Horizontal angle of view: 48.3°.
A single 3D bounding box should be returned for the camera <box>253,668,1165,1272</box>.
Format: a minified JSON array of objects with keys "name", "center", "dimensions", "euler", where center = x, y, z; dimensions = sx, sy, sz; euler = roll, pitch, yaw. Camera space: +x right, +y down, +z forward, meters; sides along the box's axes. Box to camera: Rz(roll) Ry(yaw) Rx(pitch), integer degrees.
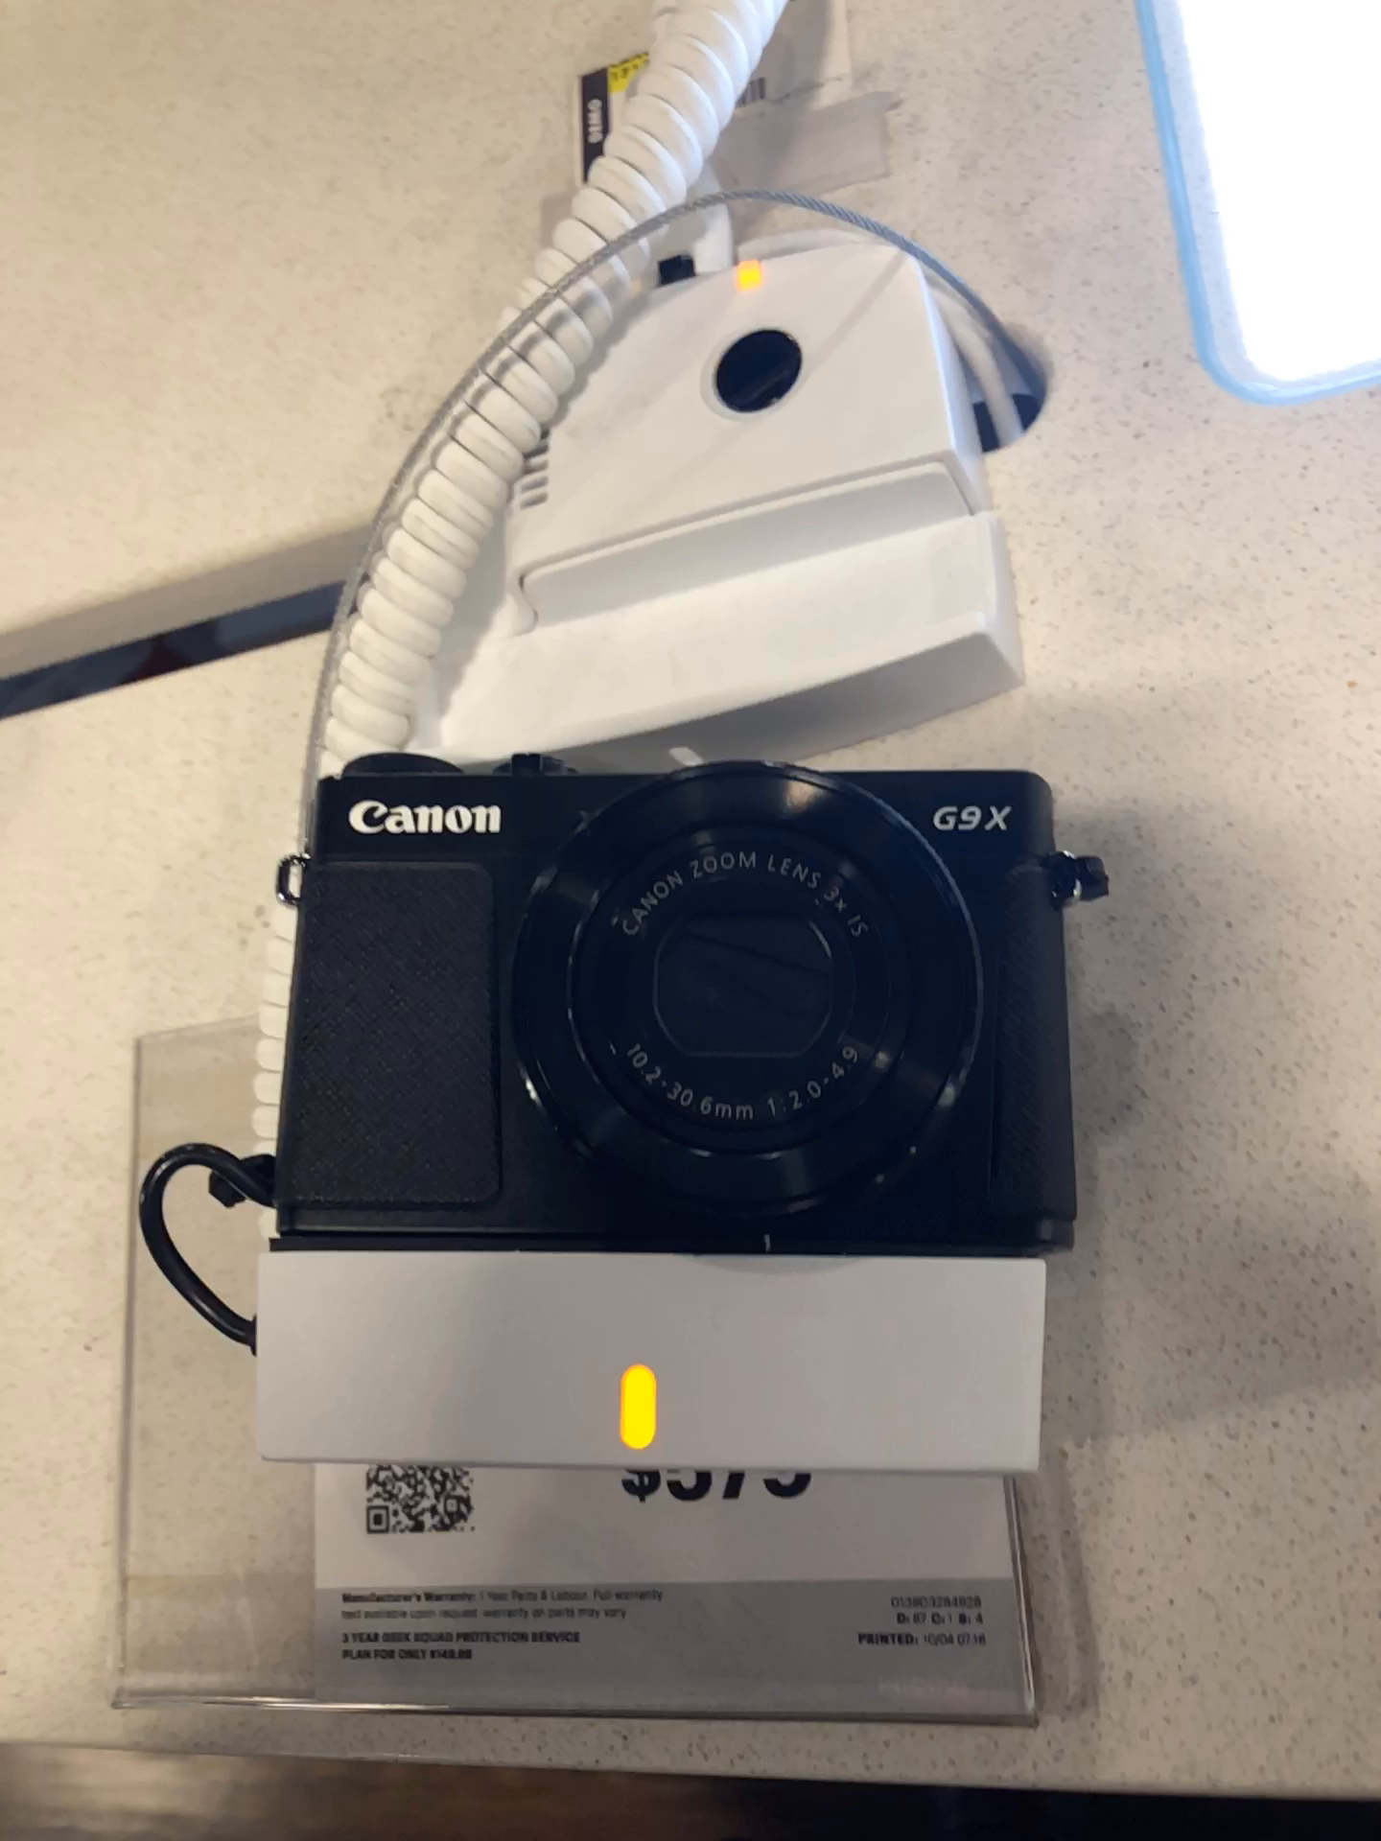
[{"name":"camera","center":[0.002,0.006,0.188],"dimensions":[0.100,0.020,0.070],"euler":[0,73,4]}]
